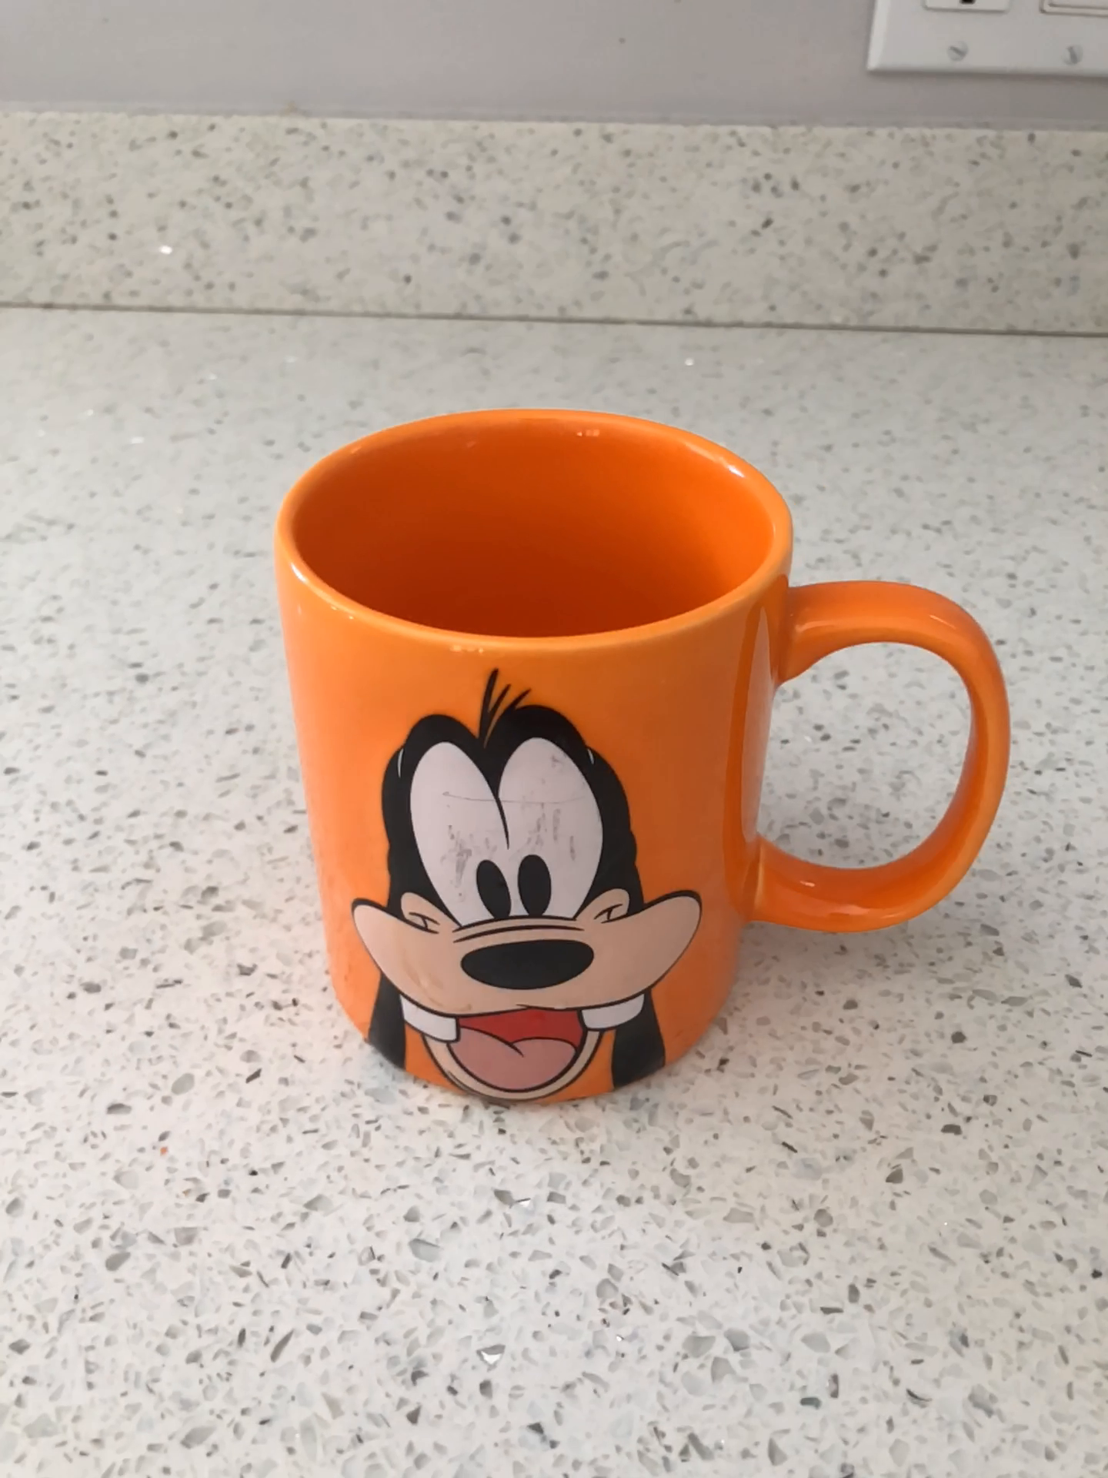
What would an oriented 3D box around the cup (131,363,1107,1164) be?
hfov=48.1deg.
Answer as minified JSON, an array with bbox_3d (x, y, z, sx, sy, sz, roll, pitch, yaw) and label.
[{"bbox_3d":[0.014,0.000,0.223,0.130,0.101,0.090,4,36,5],"label":"cup"}]
